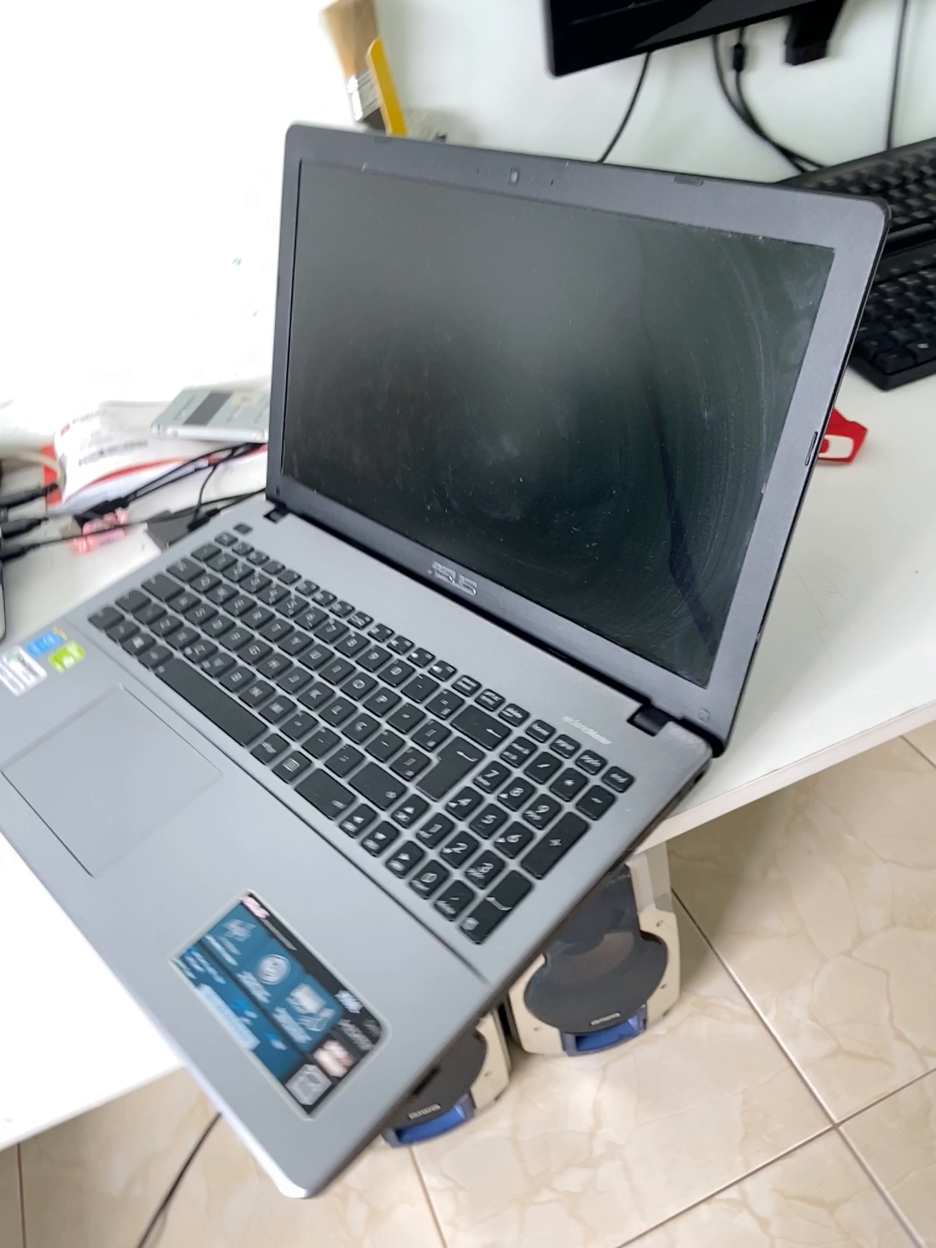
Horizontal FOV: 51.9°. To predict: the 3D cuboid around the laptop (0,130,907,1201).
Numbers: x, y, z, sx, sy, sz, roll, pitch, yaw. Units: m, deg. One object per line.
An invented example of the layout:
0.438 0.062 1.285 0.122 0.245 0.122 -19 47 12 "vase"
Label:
-0.077 -0.051 0.458 0.377 0.213 0.357 29 55 37 "laptop"
